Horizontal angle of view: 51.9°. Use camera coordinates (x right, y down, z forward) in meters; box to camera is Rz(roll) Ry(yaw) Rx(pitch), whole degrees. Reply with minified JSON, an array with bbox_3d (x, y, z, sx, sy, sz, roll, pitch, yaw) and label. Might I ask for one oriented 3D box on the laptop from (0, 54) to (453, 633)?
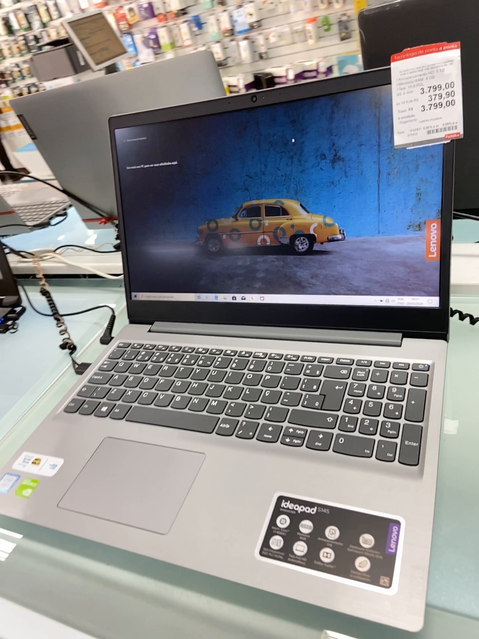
[{"bbox_3d":[-0.027,-0.030,0.417,0.364,0.213,0.362,2,38,26],"label":"laptop"}]
